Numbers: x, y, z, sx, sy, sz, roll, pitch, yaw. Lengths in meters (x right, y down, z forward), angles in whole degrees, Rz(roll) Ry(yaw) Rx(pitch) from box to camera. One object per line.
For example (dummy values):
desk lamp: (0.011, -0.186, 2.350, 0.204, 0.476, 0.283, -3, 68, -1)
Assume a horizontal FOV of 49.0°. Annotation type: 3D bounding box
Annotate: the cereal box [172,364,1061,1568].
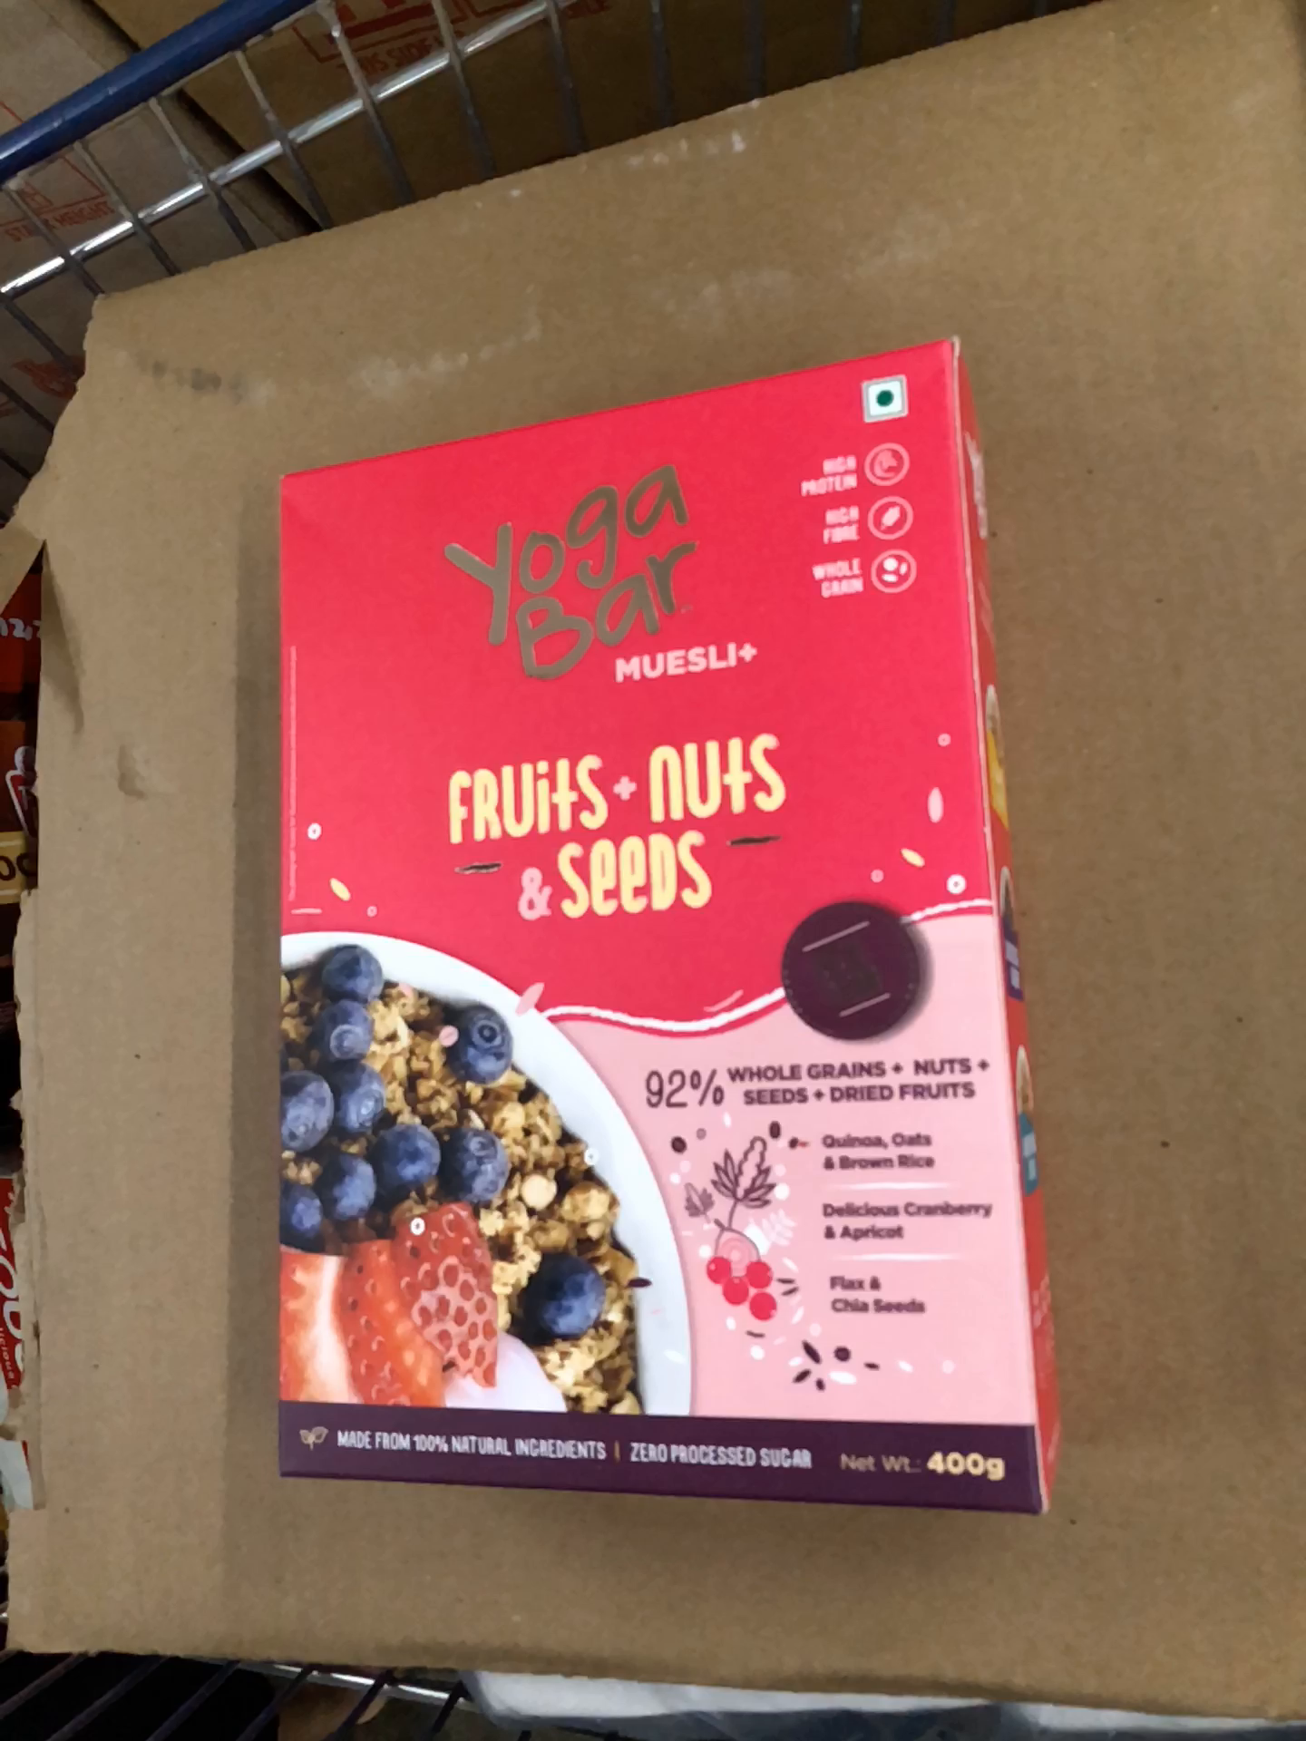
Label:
cereal box: (-0.011, 0.020, 0.304, 0.170, 0.060, 0.210, -4, 82, 17)
